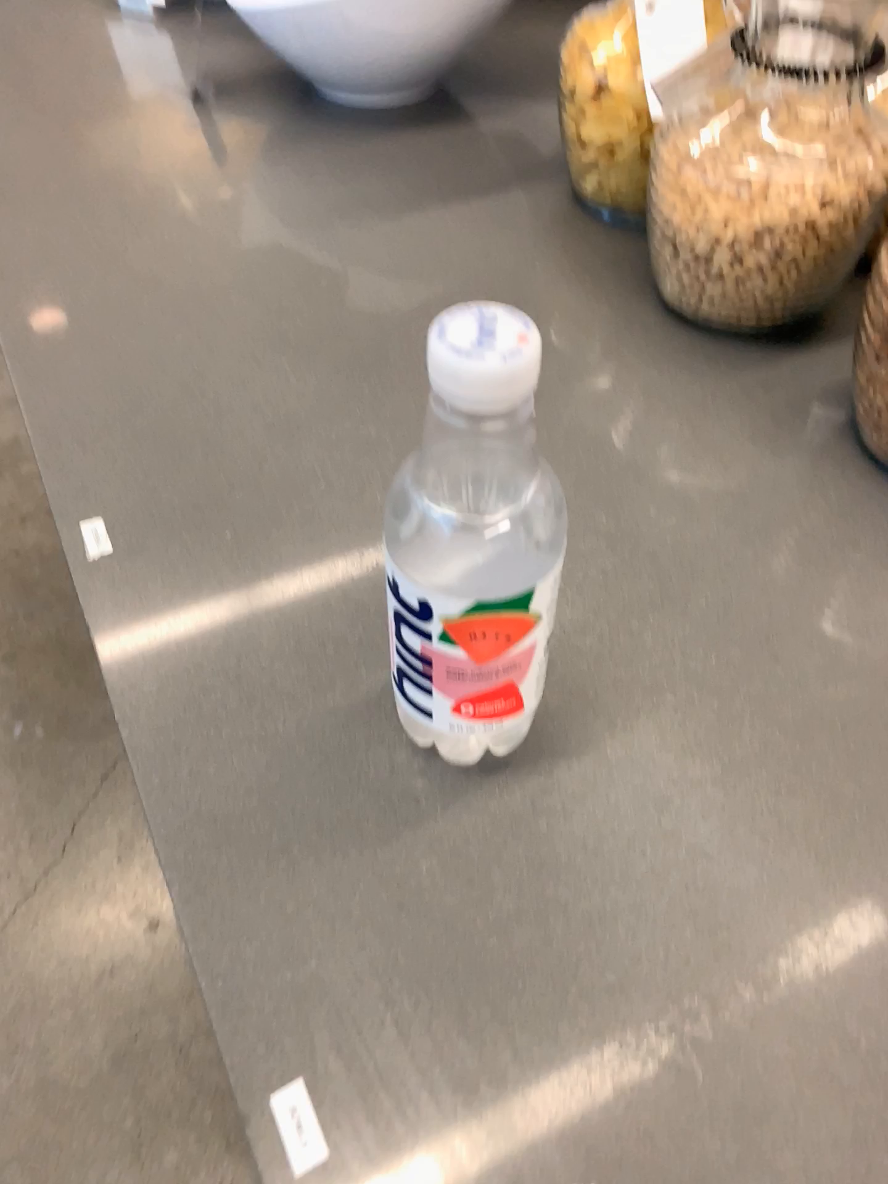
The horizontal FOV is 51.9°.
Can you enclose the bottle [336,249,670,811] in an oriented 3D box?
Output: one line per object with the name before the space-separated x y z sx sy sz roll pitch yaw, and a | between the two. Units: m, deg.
bottle | 0.014 -0.010 0.339 0.070 0.199 0.070 0 49 0
